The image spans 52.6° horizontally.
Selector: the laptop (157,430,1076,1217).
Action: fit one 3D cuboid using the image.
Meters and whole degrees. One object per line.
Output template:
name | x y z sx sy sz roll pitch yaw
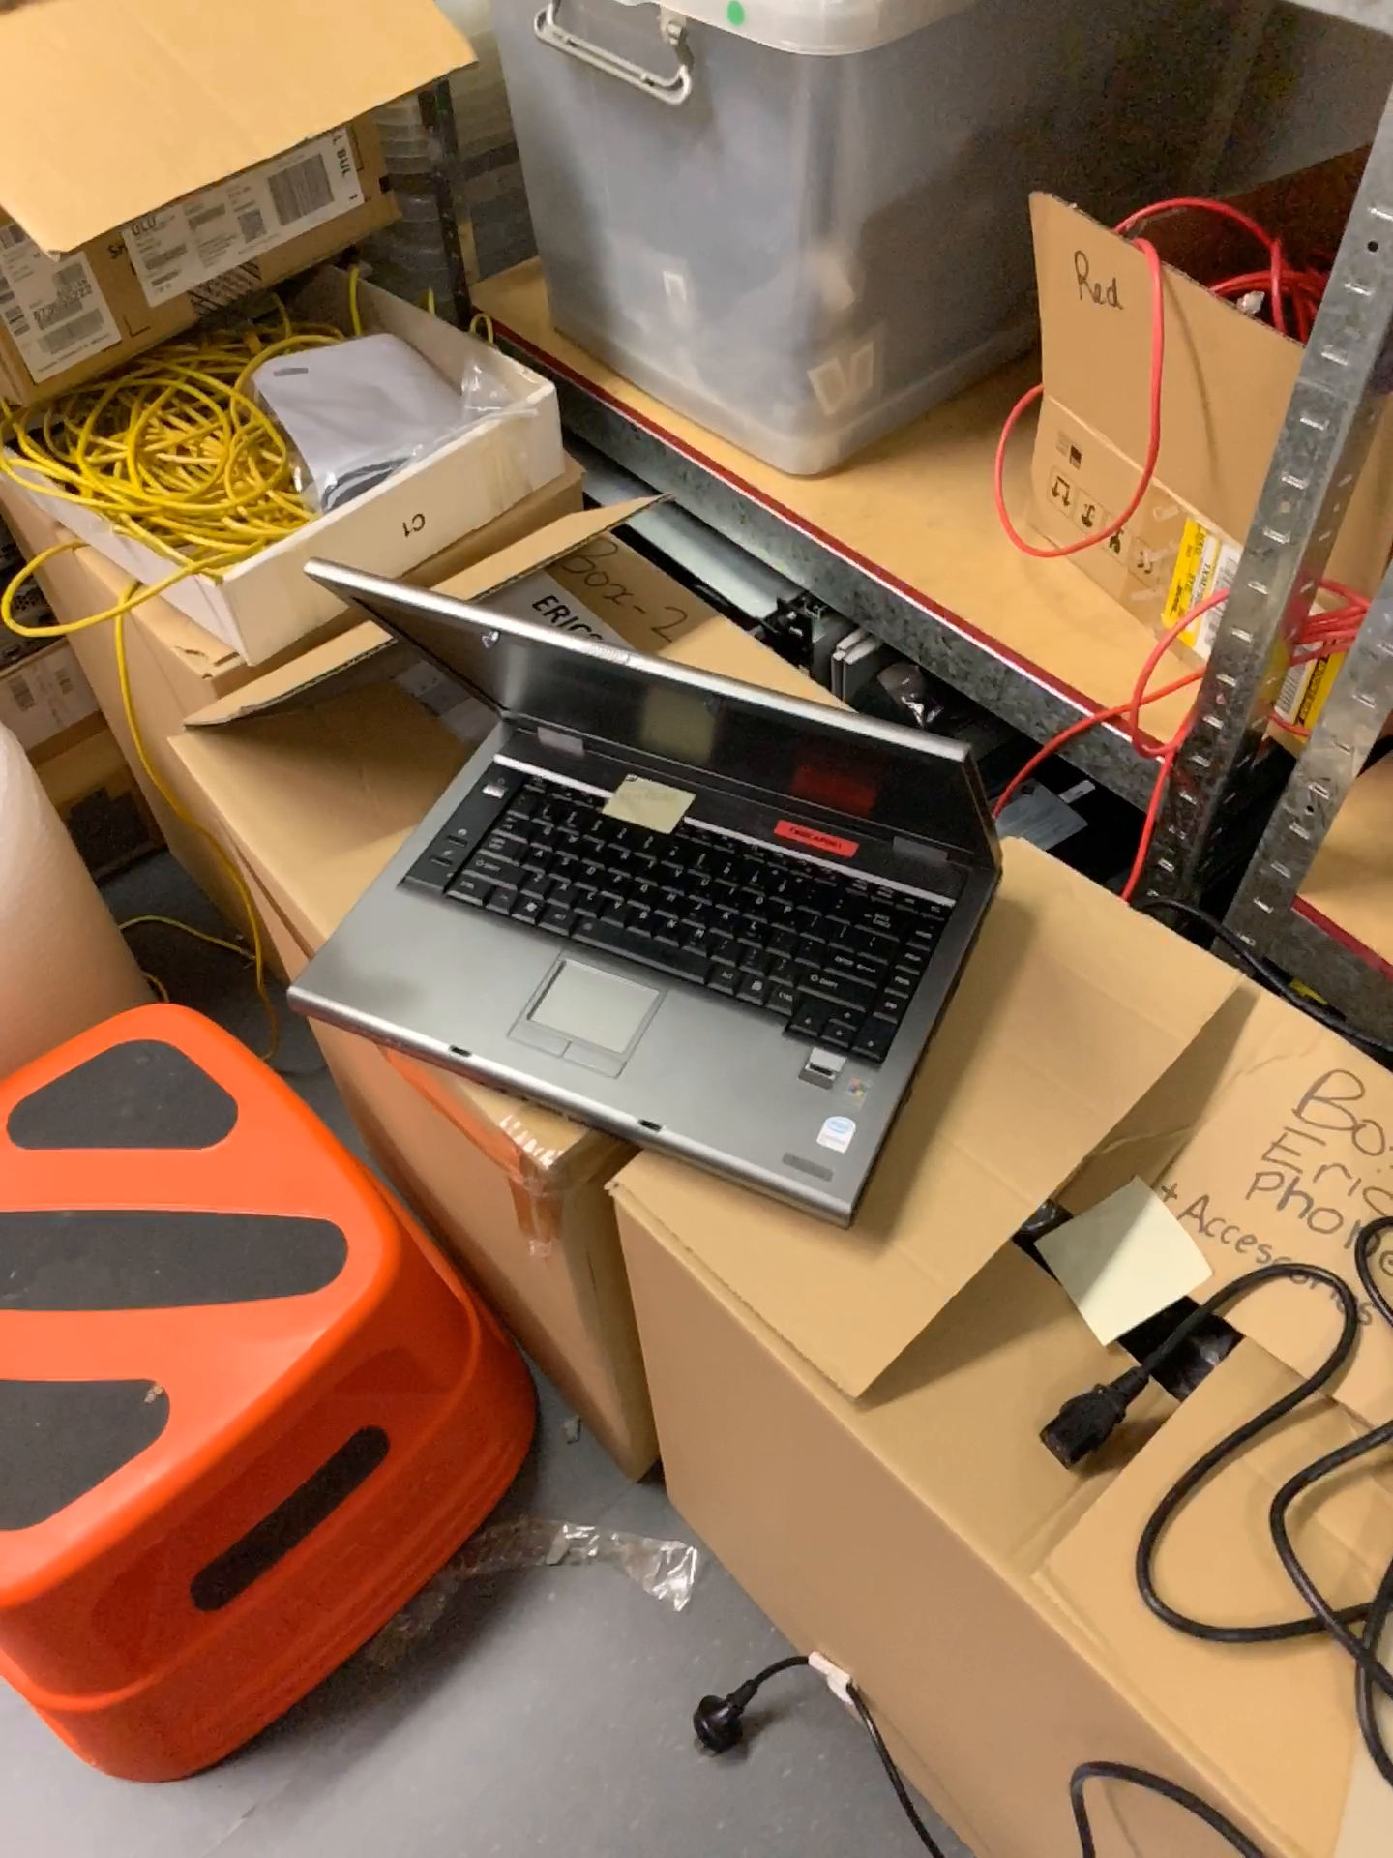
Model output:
laptop | -0.029 -0.068 0.764 0.360 0.238 0.263 18 53 17
